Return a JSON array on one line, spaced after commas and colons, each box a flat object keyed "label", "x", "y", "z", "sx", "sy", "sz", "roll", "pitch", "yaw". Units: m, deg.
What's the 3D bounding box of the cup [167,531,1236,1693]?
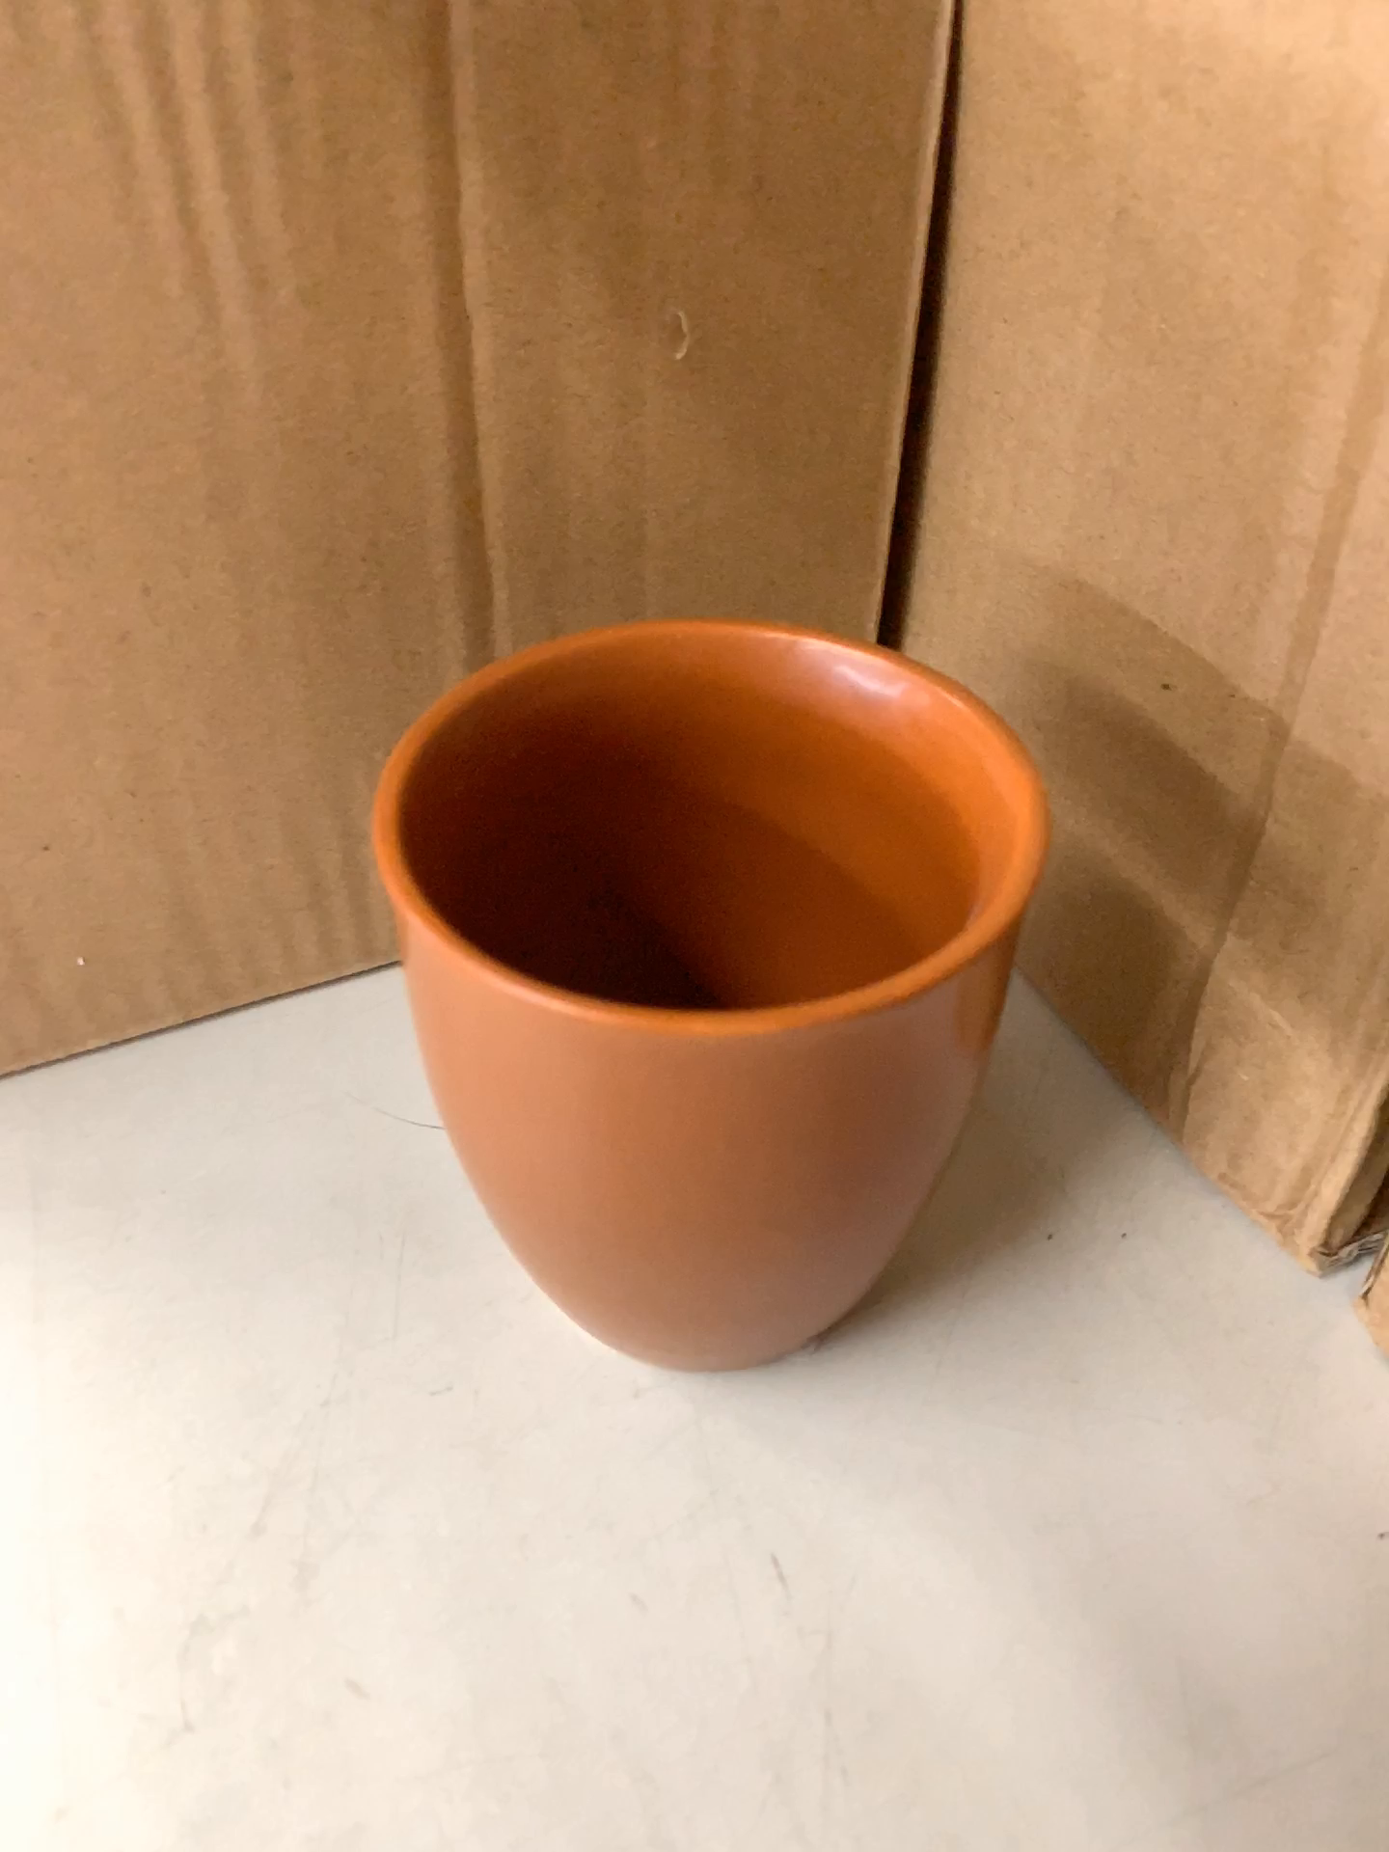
[{"label": "cup", "x": 0.005, "y": 0.017, "z": 0.156, "sx": 0.070, "sy": 0.079, "sz": 0.070, "roll": -1, "pitch": 43, "yaw": 1}]
